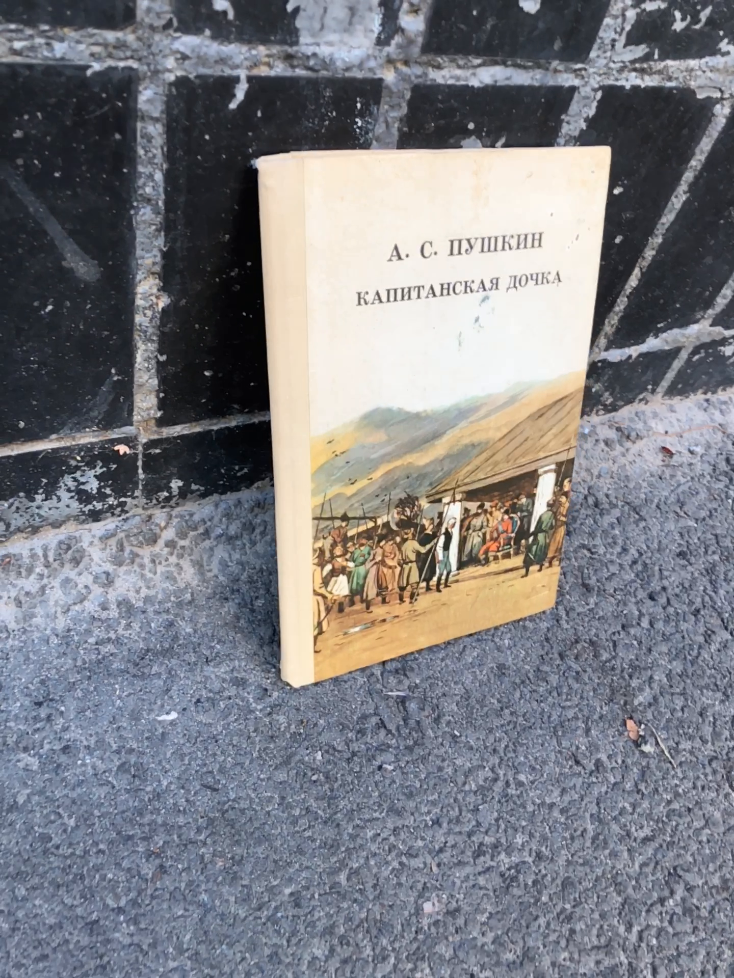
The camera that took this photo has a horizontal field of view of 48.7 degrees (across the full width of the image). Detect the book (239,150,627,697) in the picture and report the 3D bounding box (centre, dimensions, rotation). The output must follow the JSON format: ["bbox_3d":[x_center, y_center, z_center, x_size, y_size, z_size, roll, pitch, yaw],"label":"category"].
[{"bbox_3d":[0.025,-0.024,0.338,0.150,0.214,0.020,-12,31,-25],"label":"book"}]
